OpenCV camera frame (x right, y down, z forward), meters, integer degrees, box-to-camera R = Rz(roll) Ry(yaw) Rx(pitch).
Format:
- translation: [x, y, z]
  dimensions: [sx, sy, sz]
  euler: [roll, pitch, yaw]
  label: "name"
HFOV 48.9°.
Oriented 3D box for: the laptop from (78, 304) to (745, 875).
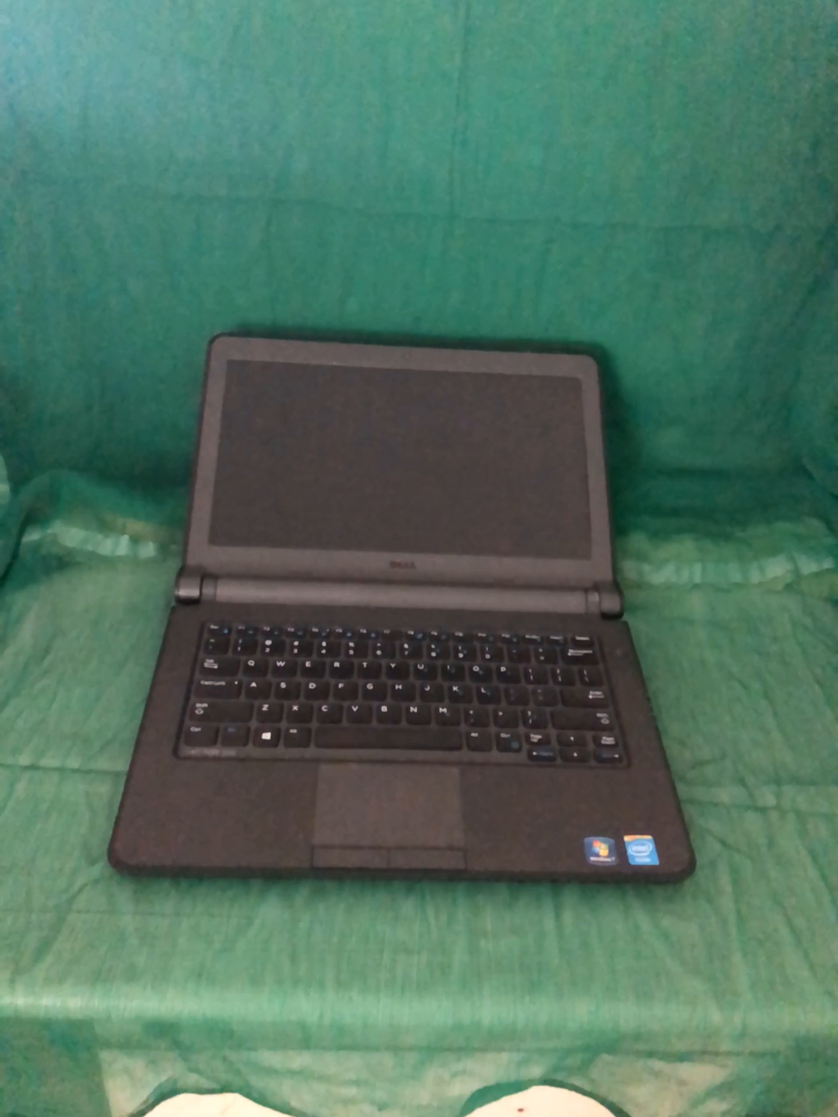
- translation: [-0.007, -0.016, 0.614]
  dimensions: [0.311, 0.096, 0.422]
  euler: [2, 42, -3]
  label: "laptop"
